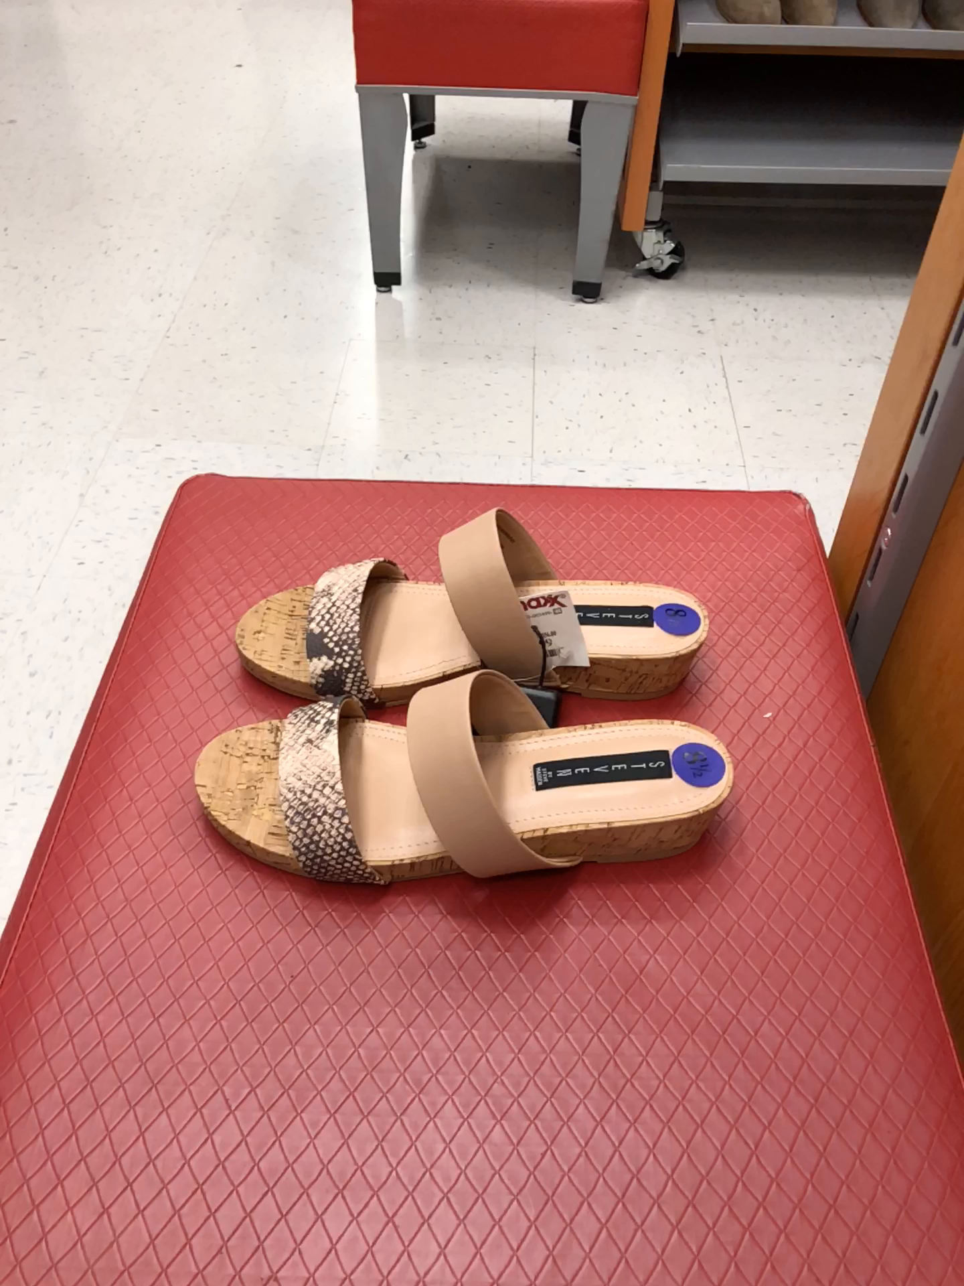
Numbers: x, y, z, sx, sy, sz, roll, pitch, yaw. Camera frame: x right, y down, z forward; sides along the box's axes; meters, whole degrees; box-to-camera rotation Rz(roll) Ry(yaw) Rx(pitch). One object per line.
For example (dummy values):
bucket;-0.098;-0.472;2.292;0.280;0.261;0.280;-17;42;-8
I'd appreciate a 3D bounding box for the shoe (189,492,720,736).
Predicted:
shoe;-0.013;-0.016;0.578;0.257;0.085;0.095;1;45;0

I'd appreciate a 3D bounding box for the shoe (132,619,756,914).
shoe;-0.015;0.057;0.502;0.257;0.085;0.097;2;45;1
